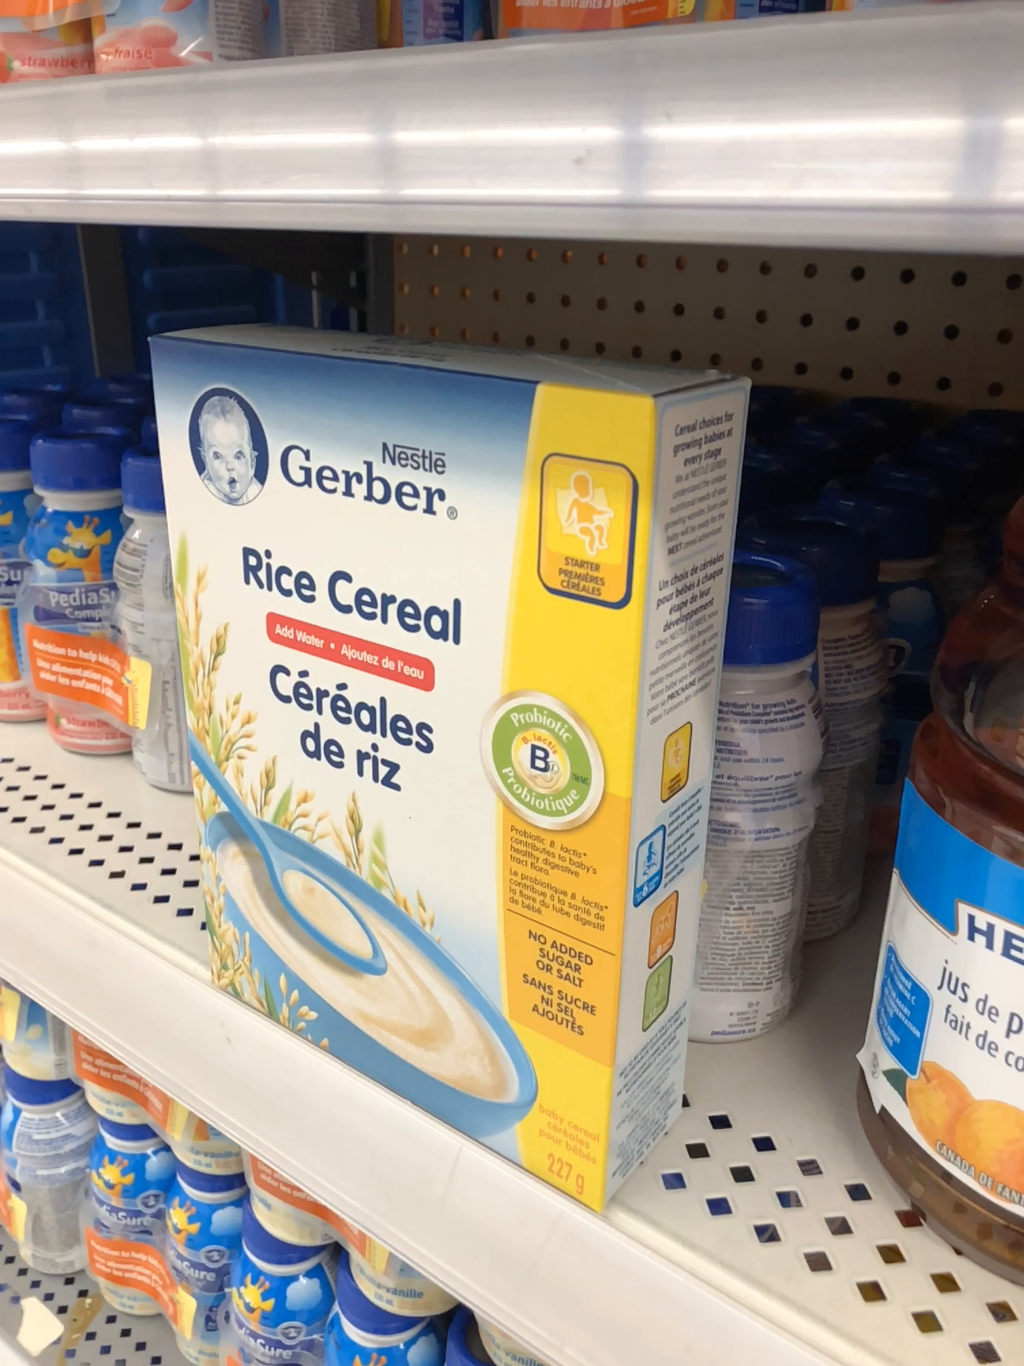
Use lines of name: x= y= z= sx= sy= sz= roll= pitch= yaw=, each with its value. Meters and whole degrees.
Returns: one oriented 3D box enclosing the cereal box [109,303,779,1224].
cereal box: x=-0.023 y=0.011 z=0.300 sx=0.150 sy=0.199 sz=0.060 roll=17 pitch=27 yaw=32
